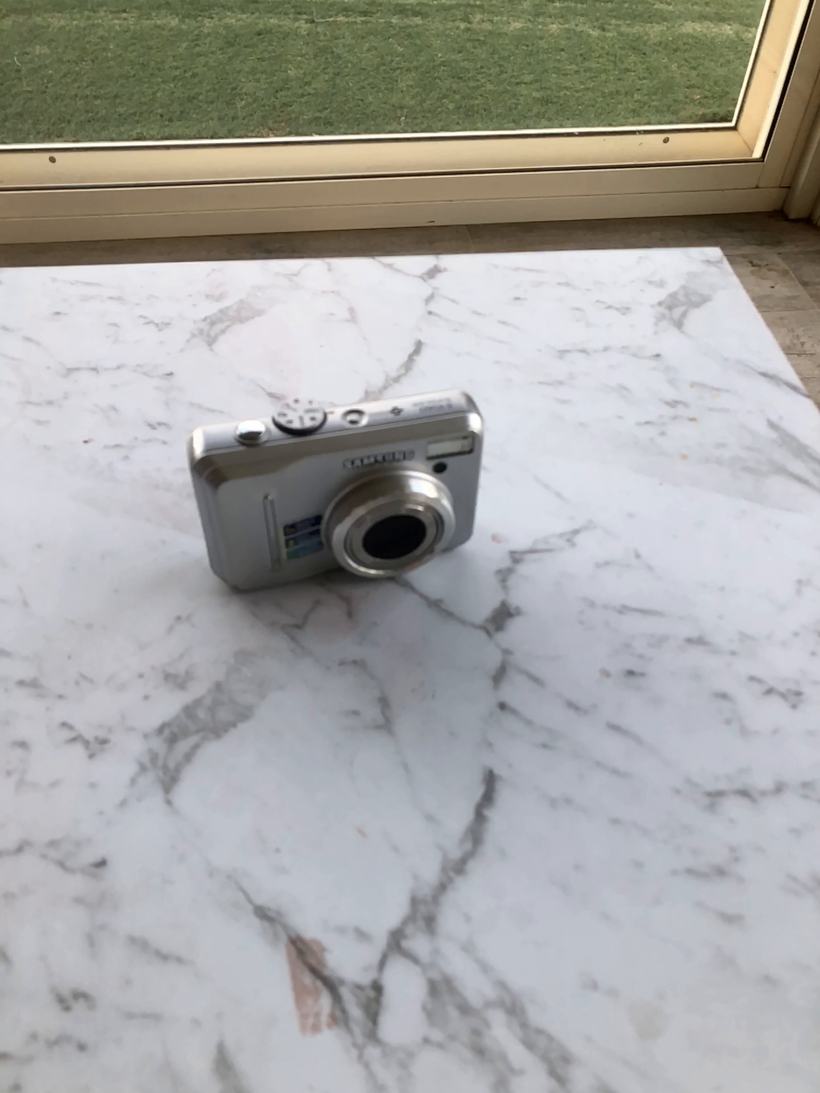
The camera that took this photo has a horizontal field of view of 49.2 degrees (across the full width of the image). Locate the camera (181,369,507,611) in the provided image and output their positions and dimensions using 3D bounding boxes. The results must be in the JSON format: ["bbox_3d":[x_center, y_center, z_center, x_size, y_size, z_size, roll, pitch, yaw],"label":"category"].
[{"bbox_3d":[-0.022,-0.019,0.309,0.099,0.061,0.034,-10,49,-11],"label":"camera"}]
